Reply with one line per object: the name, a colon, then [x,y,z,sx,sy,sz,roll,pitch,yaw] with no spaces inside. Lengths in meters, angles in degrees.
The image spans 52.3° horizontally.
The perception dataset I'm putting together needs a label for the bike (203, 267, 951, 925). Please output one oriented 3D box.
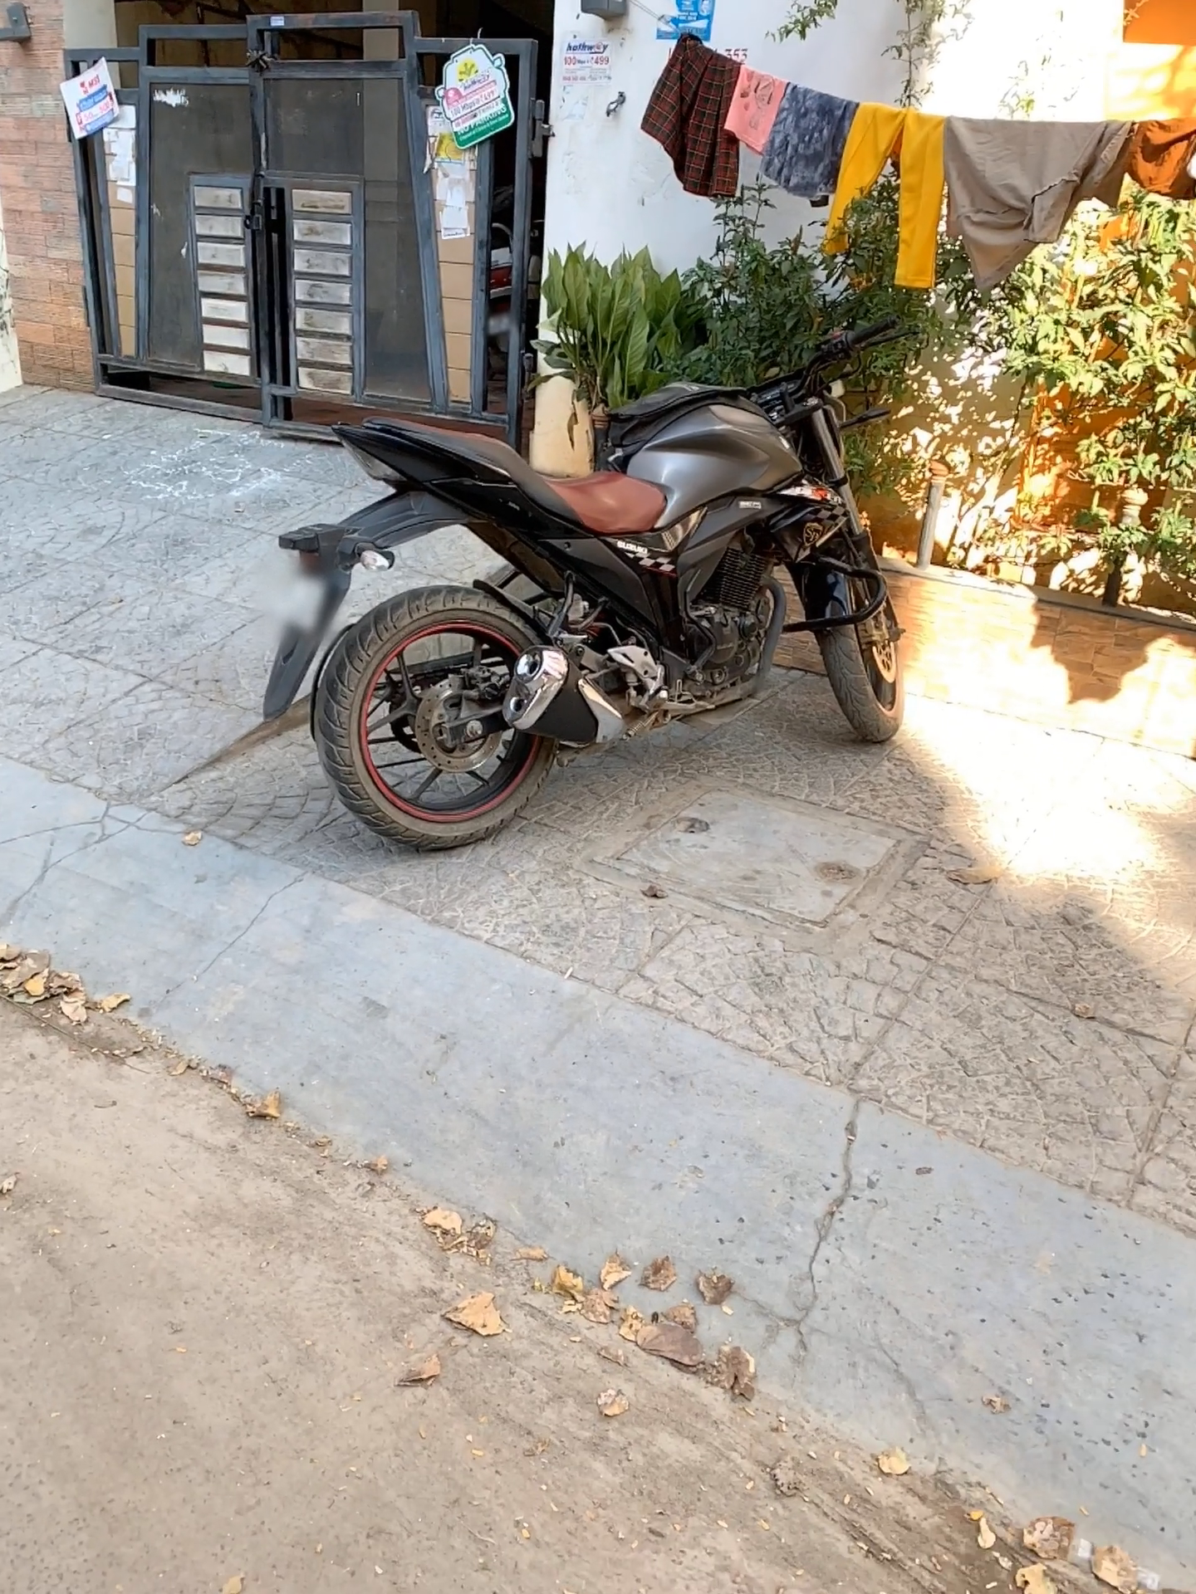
bike: [-0.024,-0.630,2.949,1.627,1.140,0.810,-17,31,-38]
